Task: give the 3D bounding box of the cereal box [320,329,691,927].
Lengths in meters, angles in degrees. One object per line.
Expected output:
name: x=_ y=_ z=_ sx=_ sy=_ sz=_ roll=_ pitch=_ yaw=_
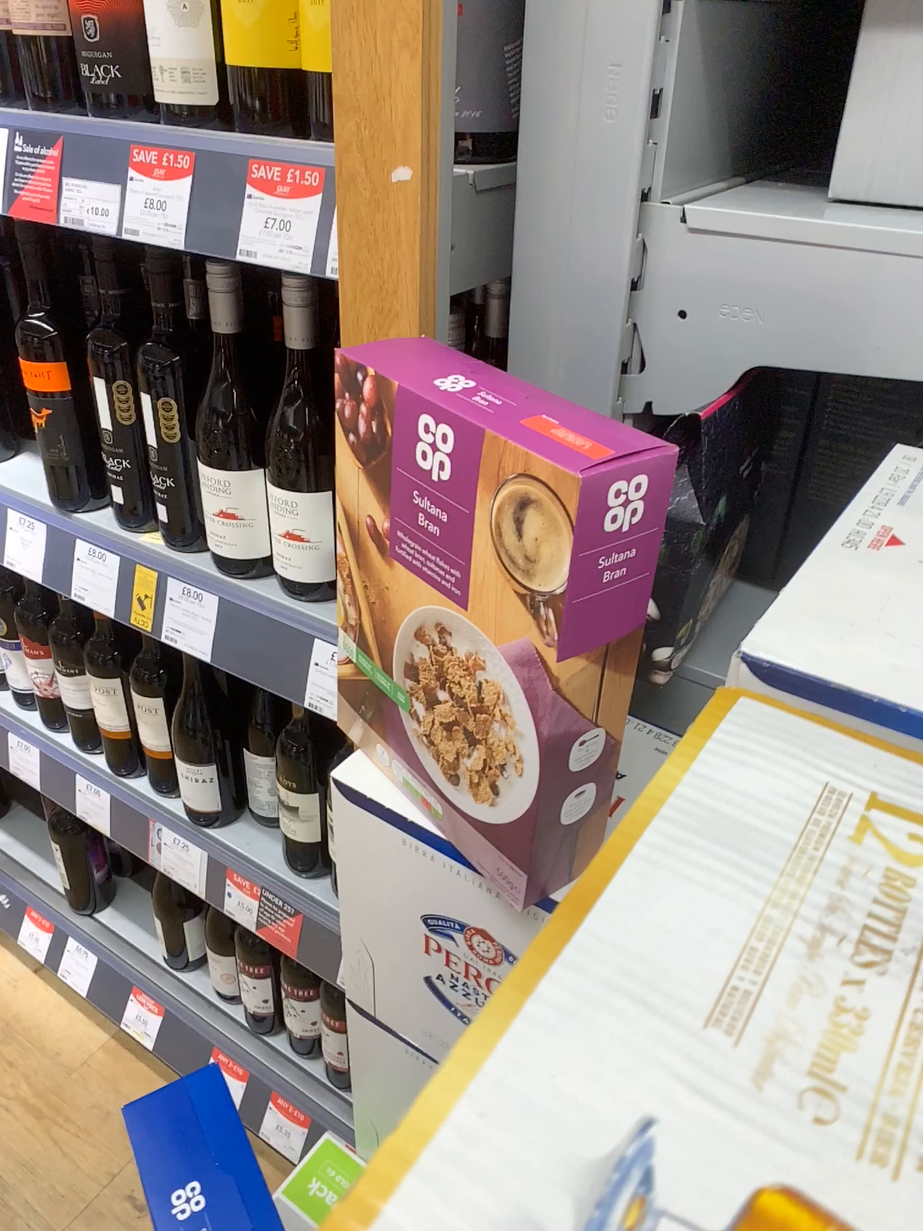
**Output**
cereal box: x=0.007 y=0.001 z=0.523 sx=0.070 sy=0.257 sz=0.201 roll=-19 pitch=38 yaw=-31
